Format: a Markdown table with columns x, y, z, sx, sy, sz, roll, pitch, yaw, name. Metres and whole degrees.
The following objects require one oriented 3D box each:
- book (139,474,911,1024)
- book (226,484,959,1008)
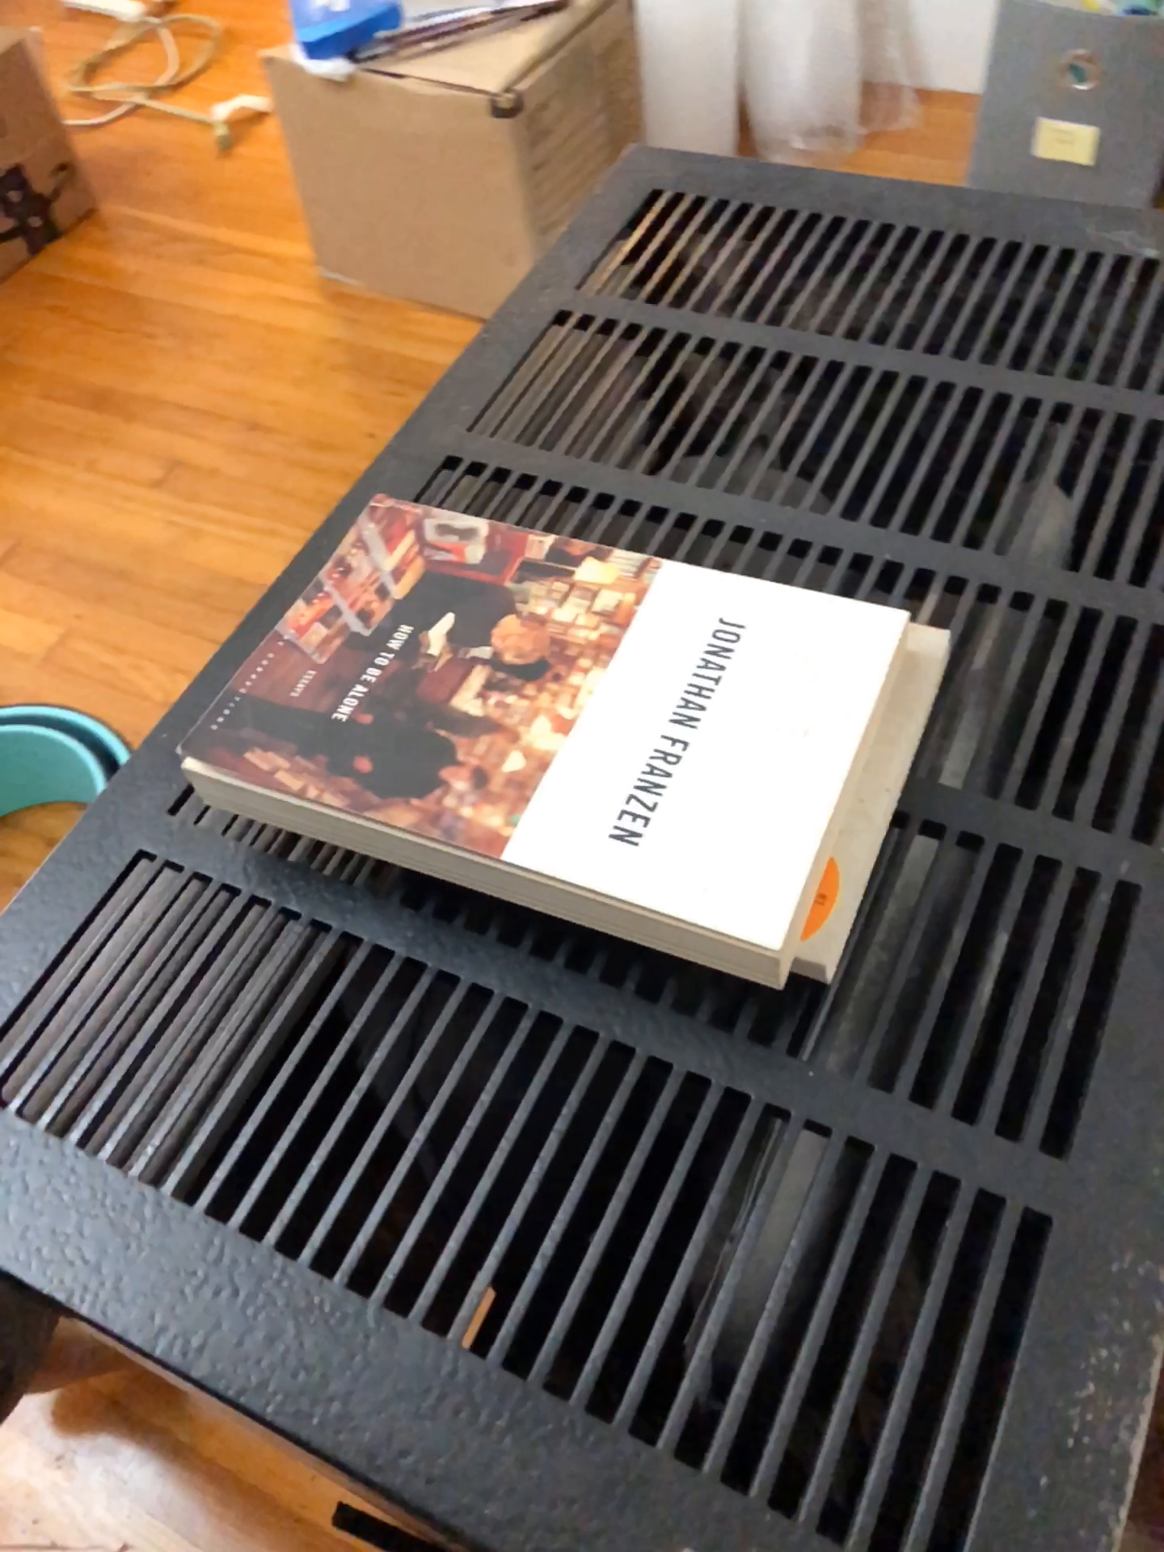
| x | y | z | sx | sy | sz | roll | pitch | yaw | name |
| --- | --- | --- | --- | --- | --- | --- | --- | --- | --- |
| -0.015 | -0.022 | 0.429 | 0.210 | 0.030 | 0.151 | 16 | 57 | 18 | book |
| 0.007 | -0.023 | 0.450 | 0.210 | 0.030 | 0.151 | 16 | 57 | 18 | book |
